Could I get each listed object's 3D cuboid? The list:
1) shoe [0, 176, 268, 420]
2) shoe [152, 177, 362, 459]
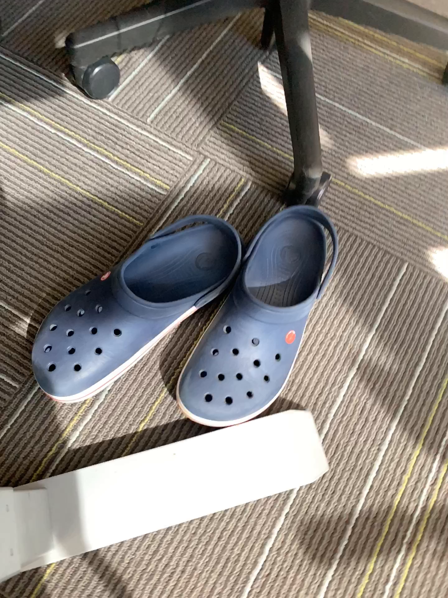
[{"bbox_3d":[-0.111,-0.007,0.583,0.320,0.080,0.130,-37,77,-15],"label":"shoe"},{"bbox_3d":[0.048,0.017,0.589,0.130,0.080,0.330,25,70,5],"label":"shoe"}]
